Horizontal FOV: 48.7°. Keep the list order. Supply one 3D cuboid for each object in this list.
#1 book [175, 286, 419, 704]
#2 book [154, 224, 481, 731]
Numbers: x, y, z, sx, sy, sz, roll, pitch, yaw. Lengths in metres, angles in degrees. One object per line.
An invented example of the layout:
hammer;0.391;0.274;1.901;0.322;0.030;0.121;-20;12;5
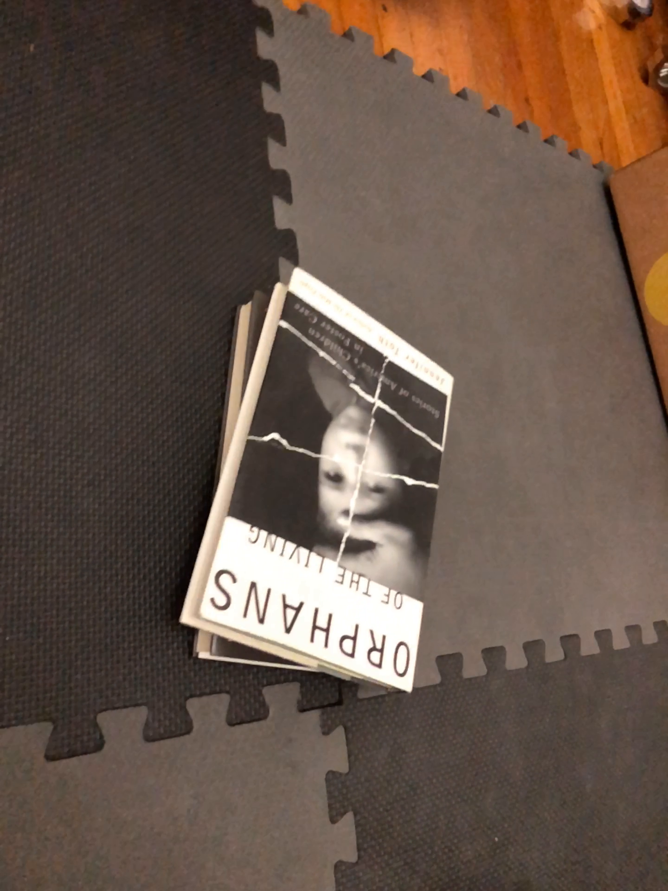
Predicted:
book;-0.012;0.036;0.493;0.160;0.030;0.251;17;64;-34
book;0.011;0.017;0.478;0.180;0.030;0.281;28;59;-29
